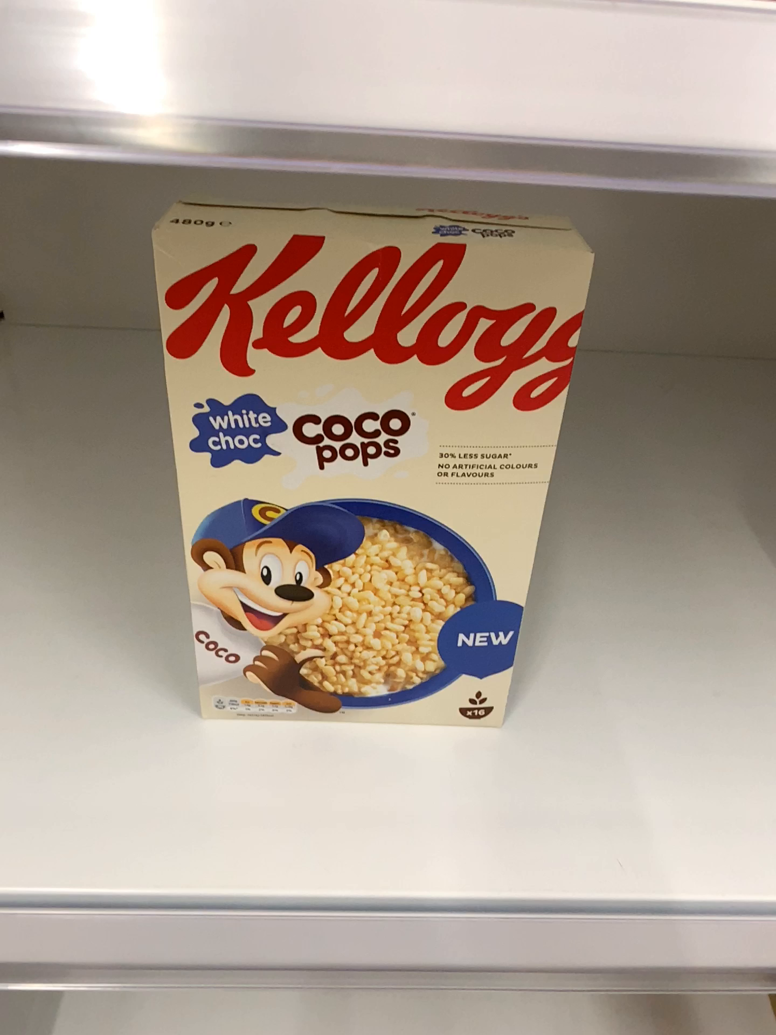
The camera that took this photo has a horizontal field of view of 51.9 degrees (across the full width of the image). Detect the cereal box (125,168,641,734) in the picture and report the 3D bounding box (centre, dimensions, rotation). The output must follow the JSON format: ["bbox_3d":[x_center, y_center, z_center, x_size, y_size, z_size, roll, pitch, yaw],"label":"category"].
[{"bbox_3d":[-0.010,-0.017,0.433,0.210,0.297,0.071,3,32,-2],"label":"cereal box"}]
